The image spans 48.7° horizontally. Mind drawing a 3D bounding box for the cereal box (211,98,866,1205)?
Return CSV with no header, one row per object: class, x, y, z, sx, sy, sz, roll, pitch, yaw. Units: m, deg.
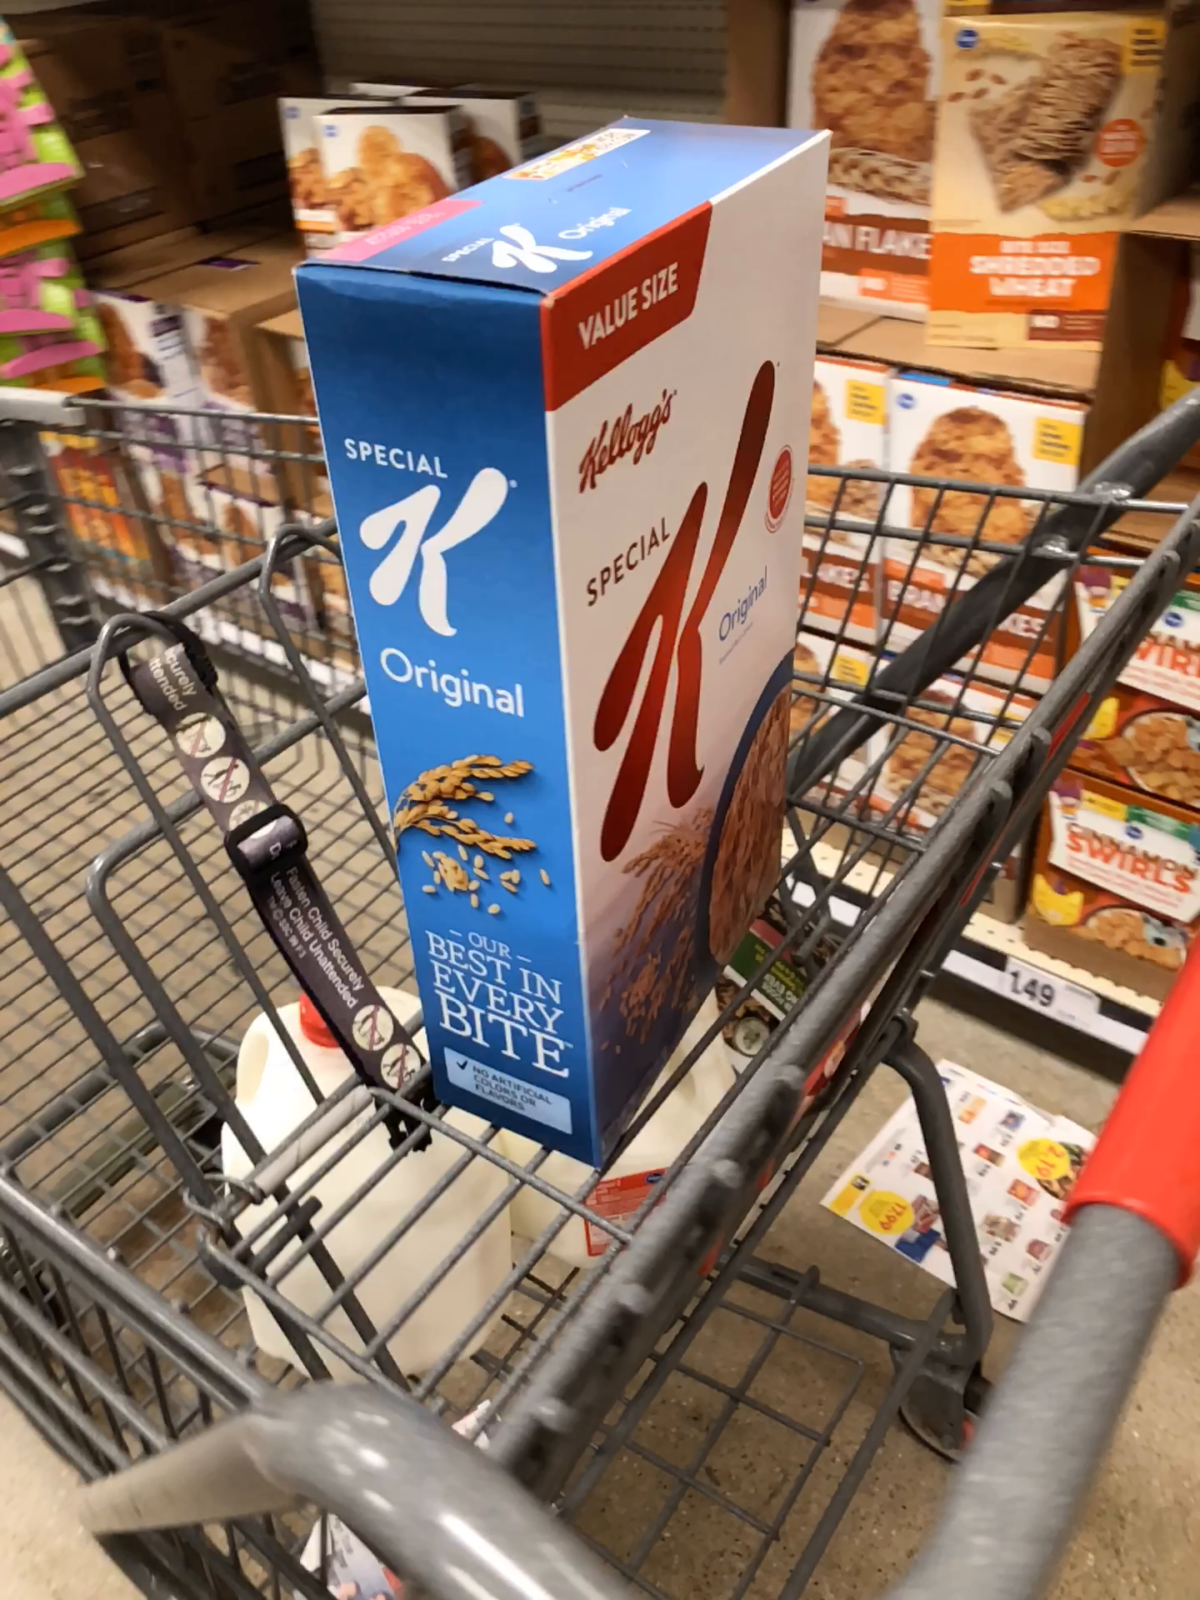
cereal box,0.005,-0.051,0.491,0.080,0.329,0.230,18,44,26
